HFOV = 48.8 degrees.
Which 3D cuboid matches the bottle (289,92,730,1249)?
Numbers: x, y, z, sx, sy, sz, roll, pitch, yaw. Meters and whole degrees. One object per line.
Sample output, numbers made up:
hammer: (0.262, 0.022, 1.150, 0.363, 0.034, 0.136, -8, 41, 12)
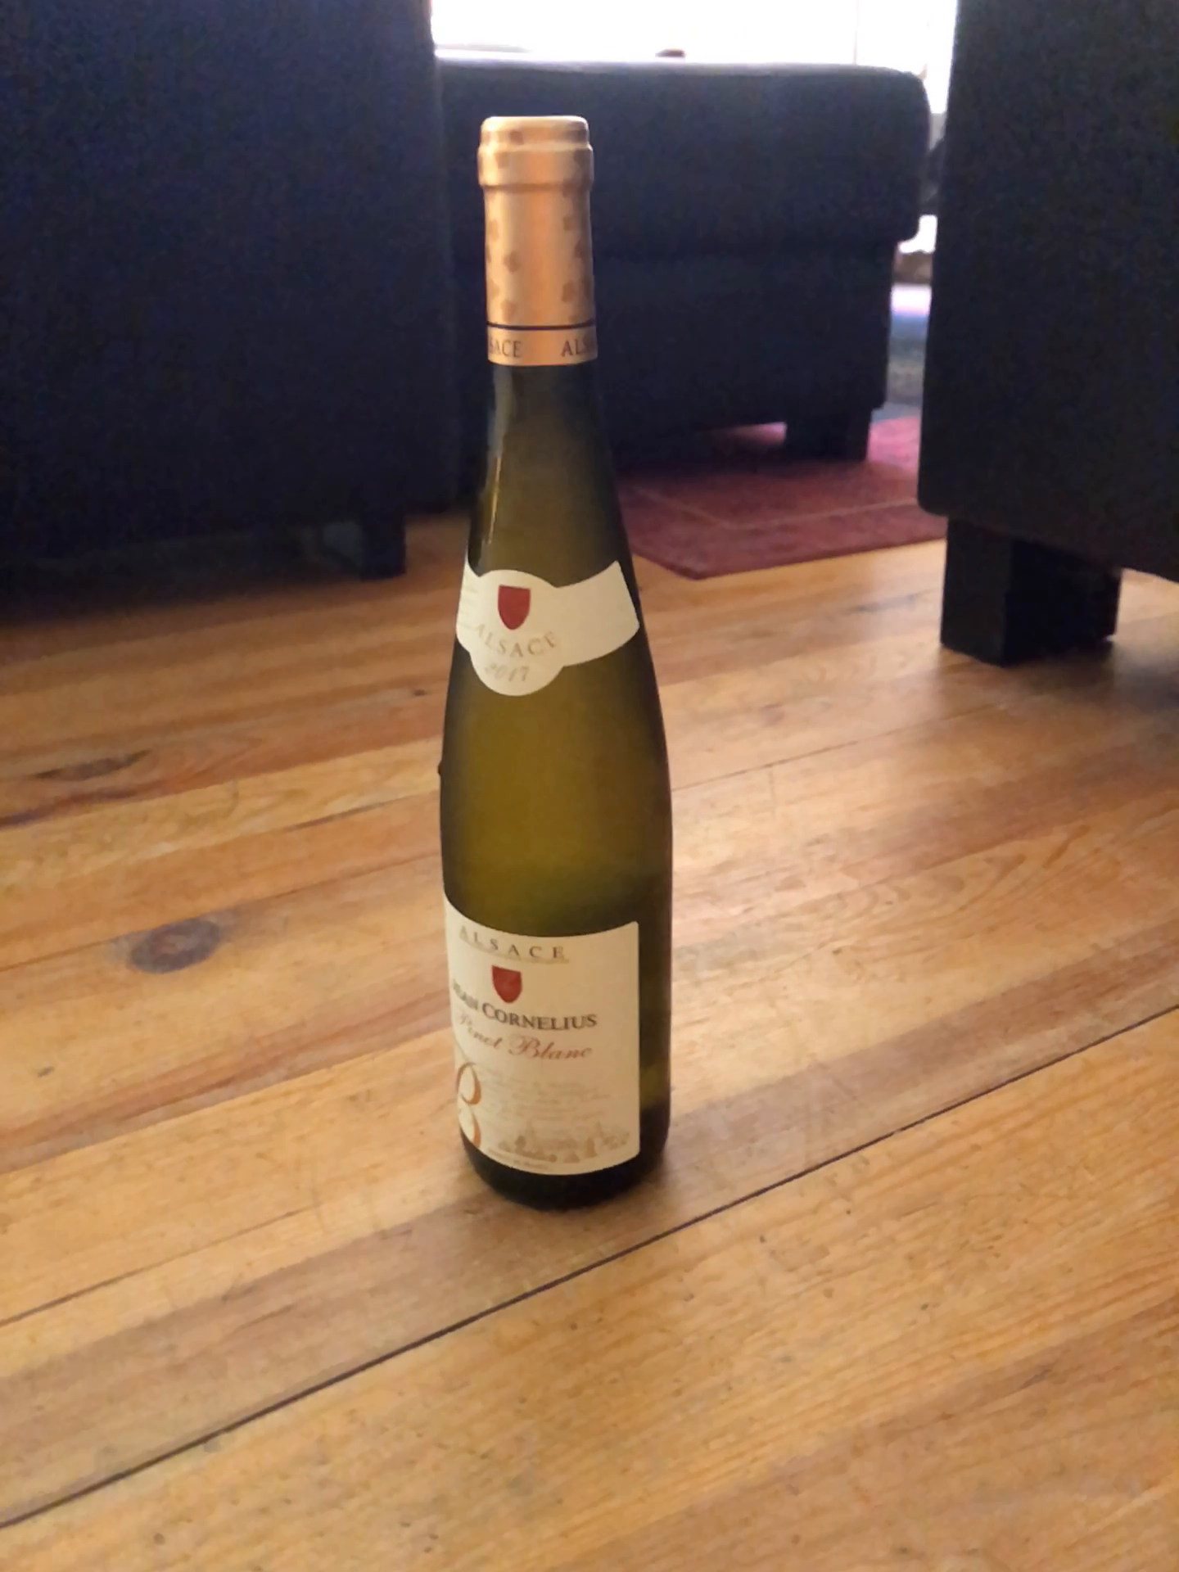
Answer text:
bottle: (-0.014, -0.023, 0.387, 0.080, 0.318, 0.080, -1, 24, 0)
